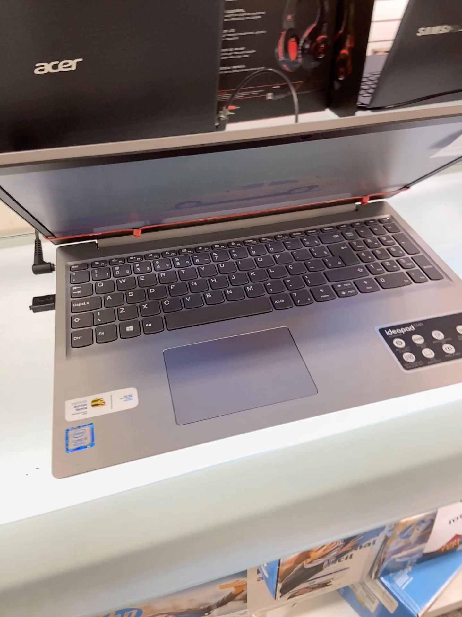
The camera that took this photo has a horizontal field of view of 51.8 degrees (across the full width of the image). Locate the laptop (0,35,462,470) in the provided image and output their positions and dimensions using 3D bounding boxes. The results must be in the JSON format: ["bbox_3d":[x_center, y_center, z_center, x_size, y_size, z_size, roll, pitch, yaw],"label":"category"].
[{"bbox_3d":[0.028,-0.073,0.368,0.361,0.167,0.247,-10,44,-10],"label":"laptop"}]
